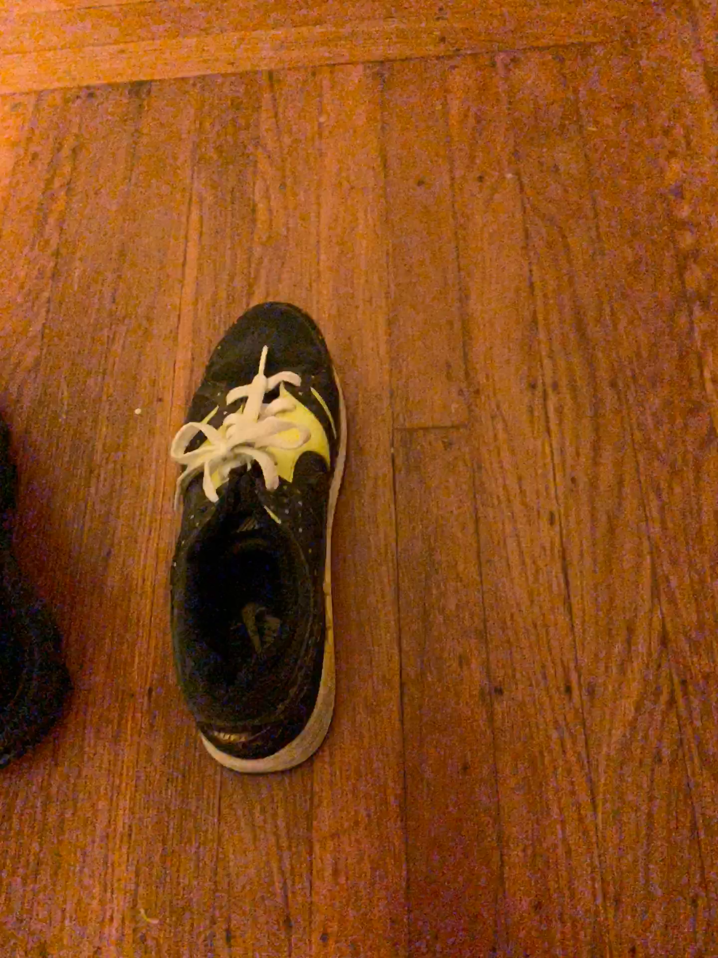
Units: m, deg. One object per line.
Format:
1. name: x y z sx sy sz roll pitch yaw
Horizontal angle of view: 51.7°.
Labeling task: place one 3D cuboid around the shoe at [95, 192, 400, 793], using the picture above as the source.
1. shoe: -0.055 0.004 0.395 0.120 0.100 0.291 -7 68 2

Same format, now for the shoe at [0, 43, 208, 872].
1. shoe: -0.241 0.000 0.398 0.160 0.239 0.311 -25 68 -5
